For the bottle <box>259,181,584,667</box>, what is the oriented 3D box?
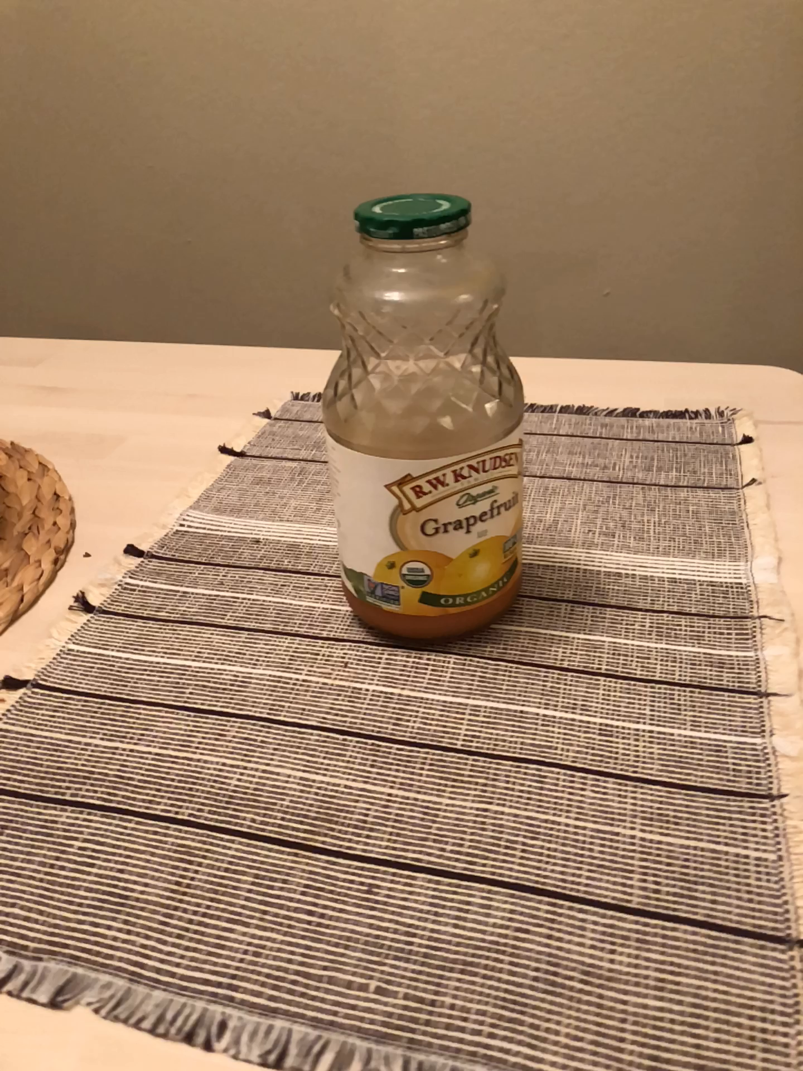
[{"bbox_3d":[0.011,-0.056,0.424,0.100,0.189,0.100,-3,31,2],"label":"bottle"}]
